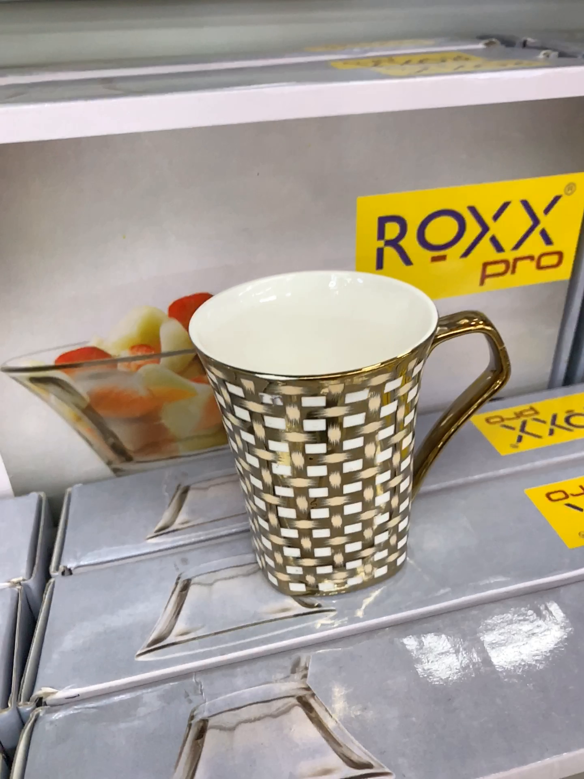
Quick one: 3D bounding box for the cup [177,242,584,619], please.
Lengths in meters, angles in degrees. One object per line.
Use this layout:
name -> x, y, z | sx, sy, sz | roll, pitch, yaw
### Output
cup -> 0.022, 0.009, 0.226 | 0.112, 0.092, 0.083 | -8, 32, -9
